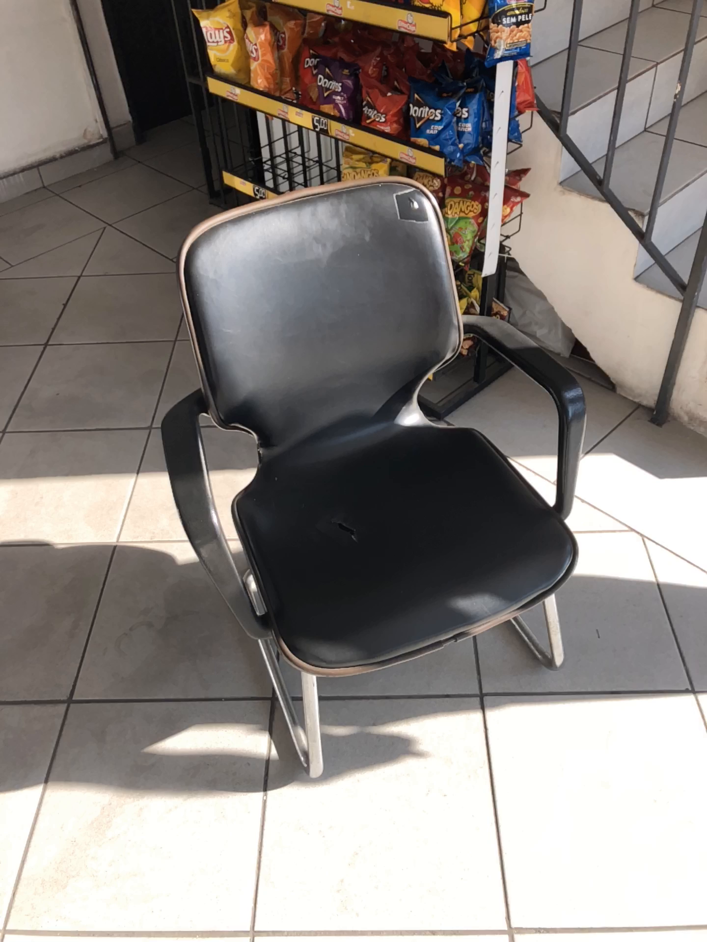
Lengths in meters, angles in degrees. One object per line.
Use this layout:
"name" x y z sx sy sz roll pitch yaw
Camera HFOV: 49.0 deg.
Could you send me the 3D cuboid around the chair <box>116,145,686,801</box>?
"chair" 0.041 0.011 1.343 0.580 0.824 0.583 -19 46 -14
